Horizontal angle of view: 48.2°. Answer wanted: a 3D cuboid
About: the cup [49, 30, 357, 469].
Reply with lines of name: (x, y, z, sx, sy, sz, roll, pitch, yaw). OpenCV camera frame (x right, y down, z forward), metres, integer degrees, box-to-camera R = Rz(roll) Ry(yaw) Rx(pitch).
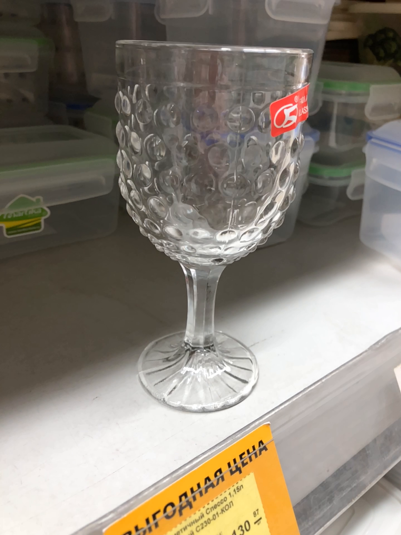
cup: (-0.003, -0.015, 0.205, 0.081, 0.160, 0.086, 2, 25, -1)
